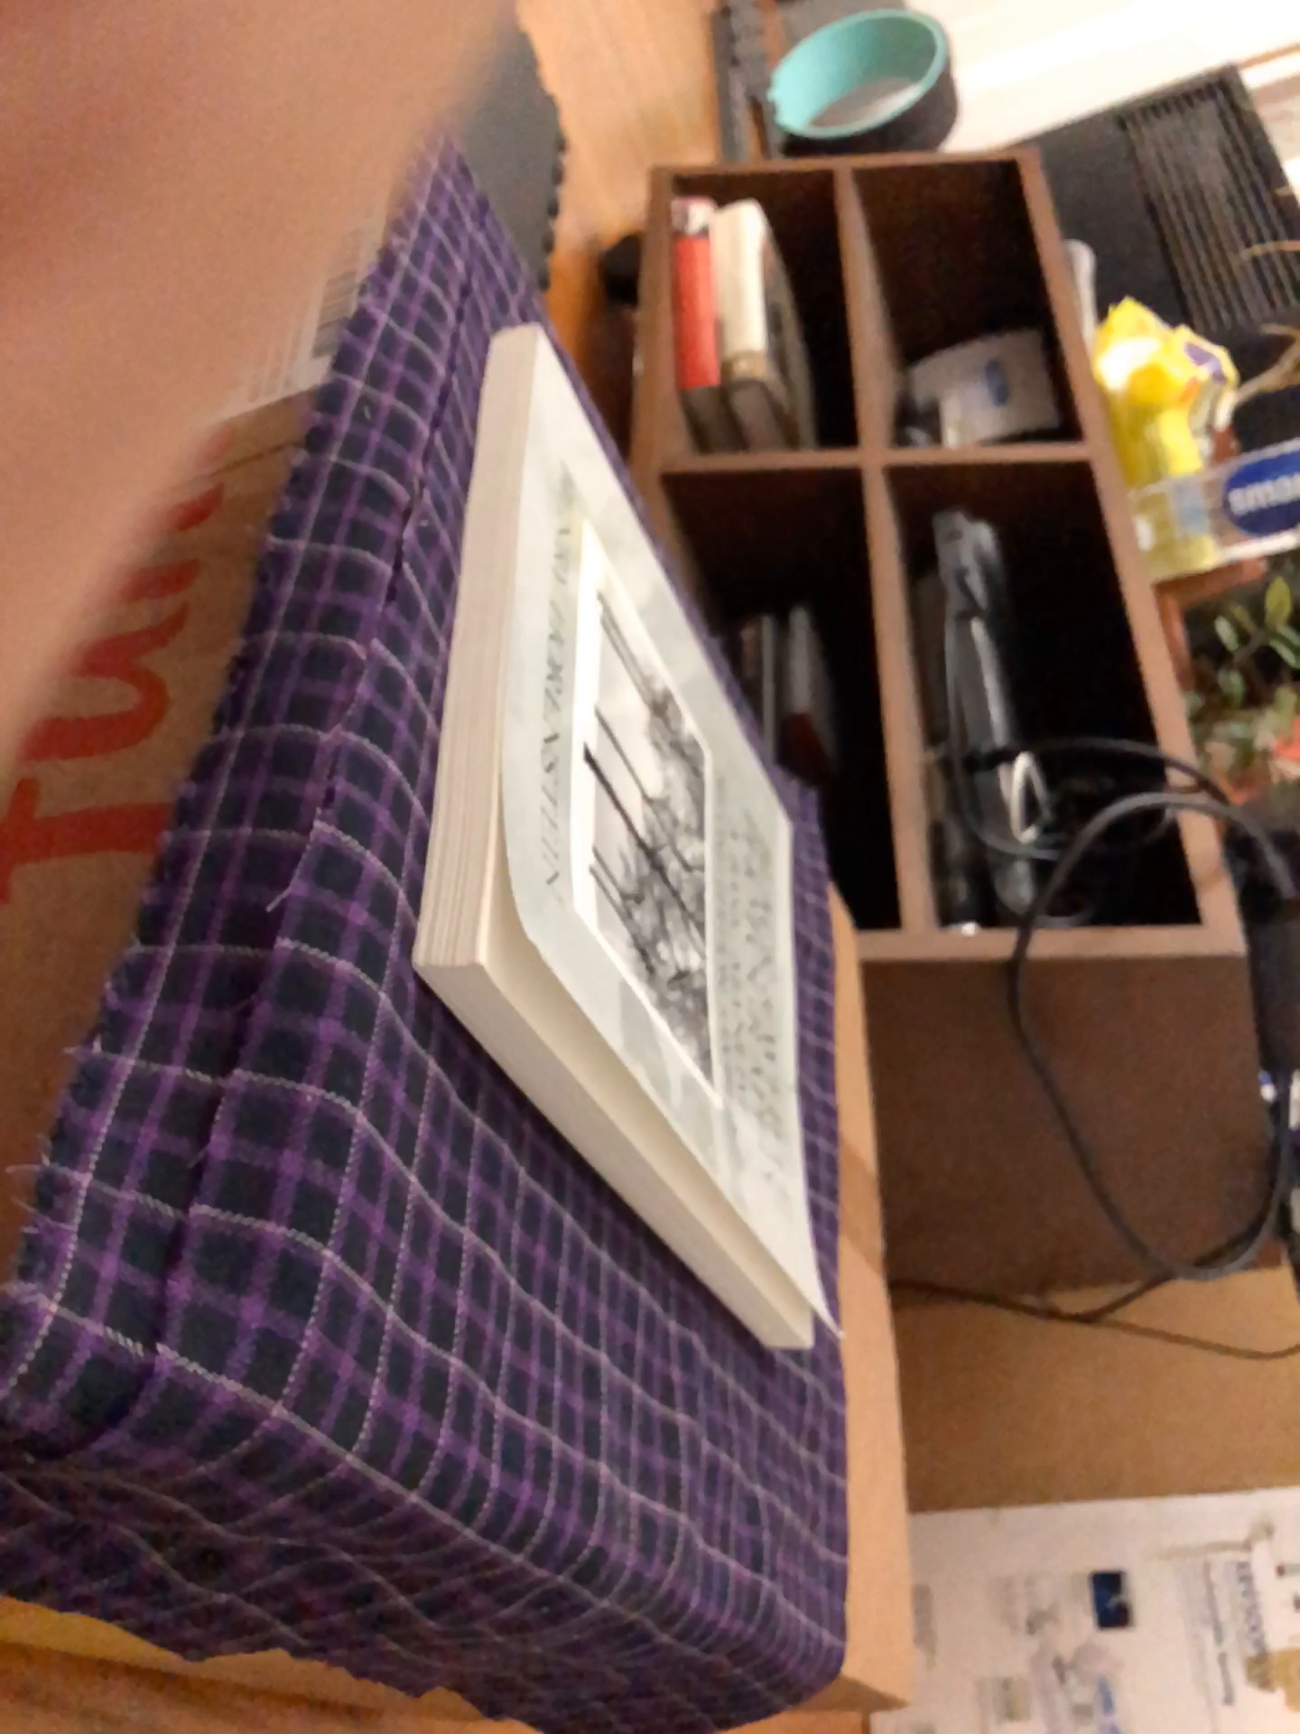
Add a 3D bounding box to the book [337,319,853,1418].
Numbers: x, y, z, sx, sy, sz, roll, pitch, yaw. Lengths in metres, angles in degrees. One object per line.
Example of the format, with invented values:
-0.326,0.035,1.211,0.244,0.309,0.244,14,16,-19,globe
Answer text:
0.004,0.014,0.416,0.250,0.030,0.211,57,27,-49,book
